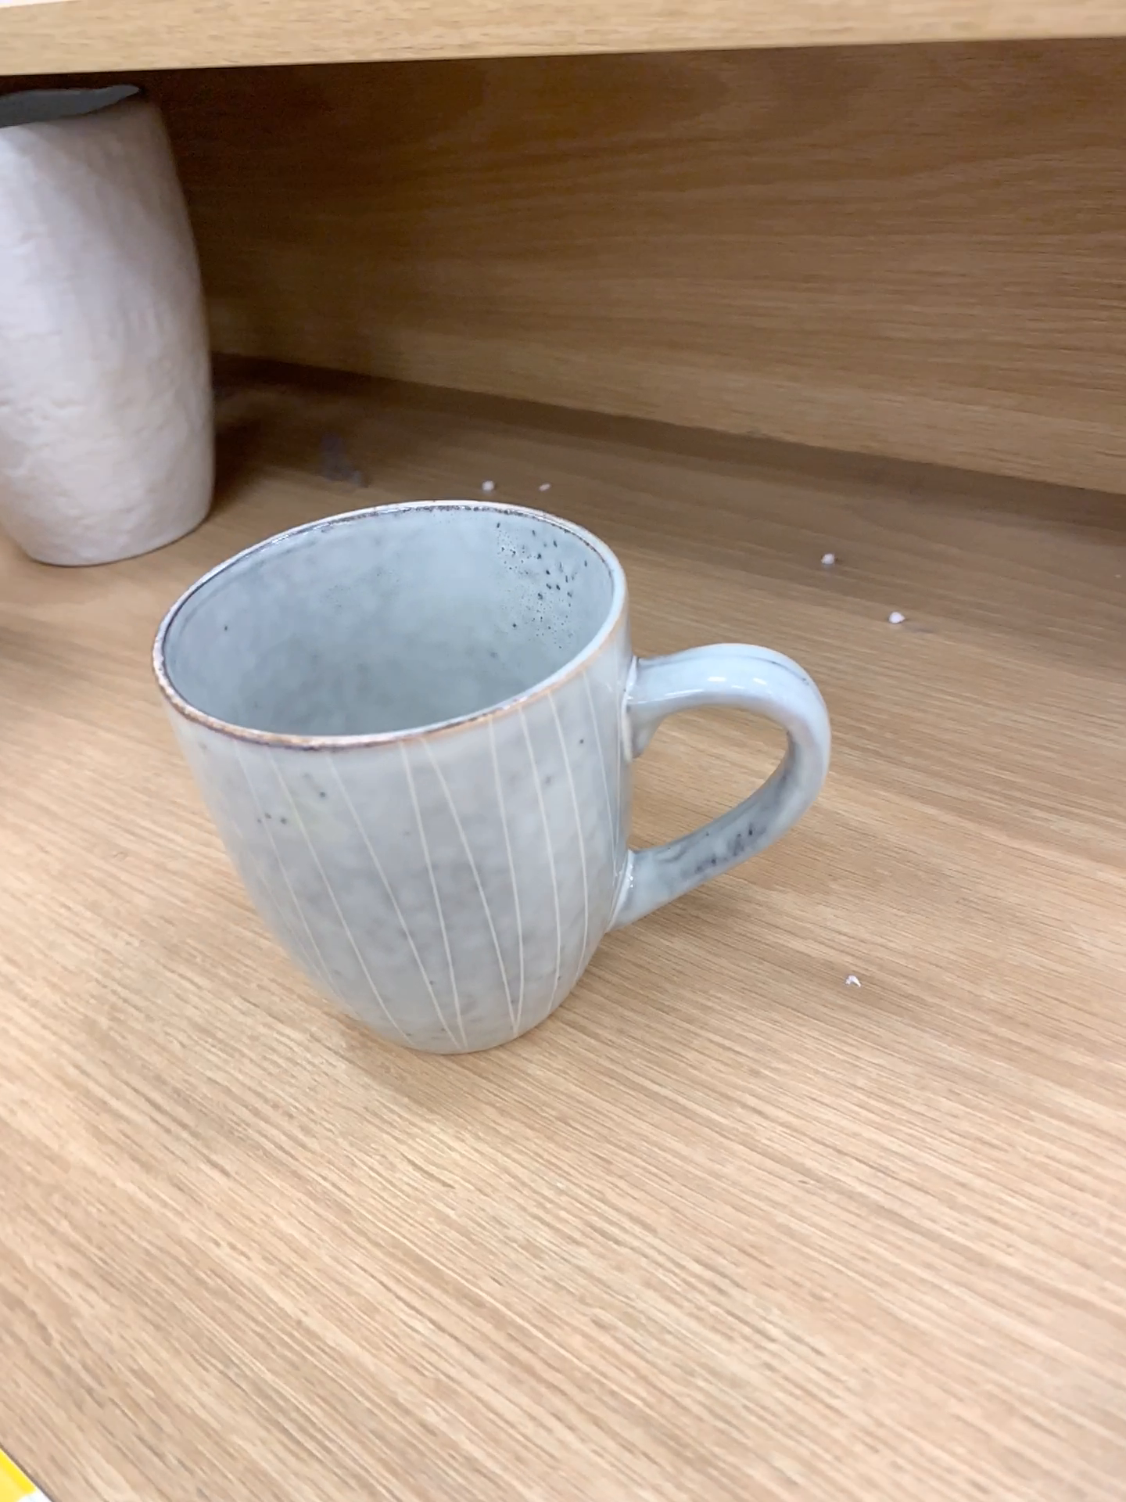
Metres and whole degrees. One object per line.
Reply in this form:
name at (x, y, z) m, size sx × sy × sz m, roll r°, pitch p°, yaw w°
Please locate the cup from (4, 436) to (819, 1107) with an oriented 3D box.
cup at (-0.018, 0.003, 0.260) m, size 0.136 × 0.098 × 0.108 m, roll -2°, pitch 39°, yaw 8°
